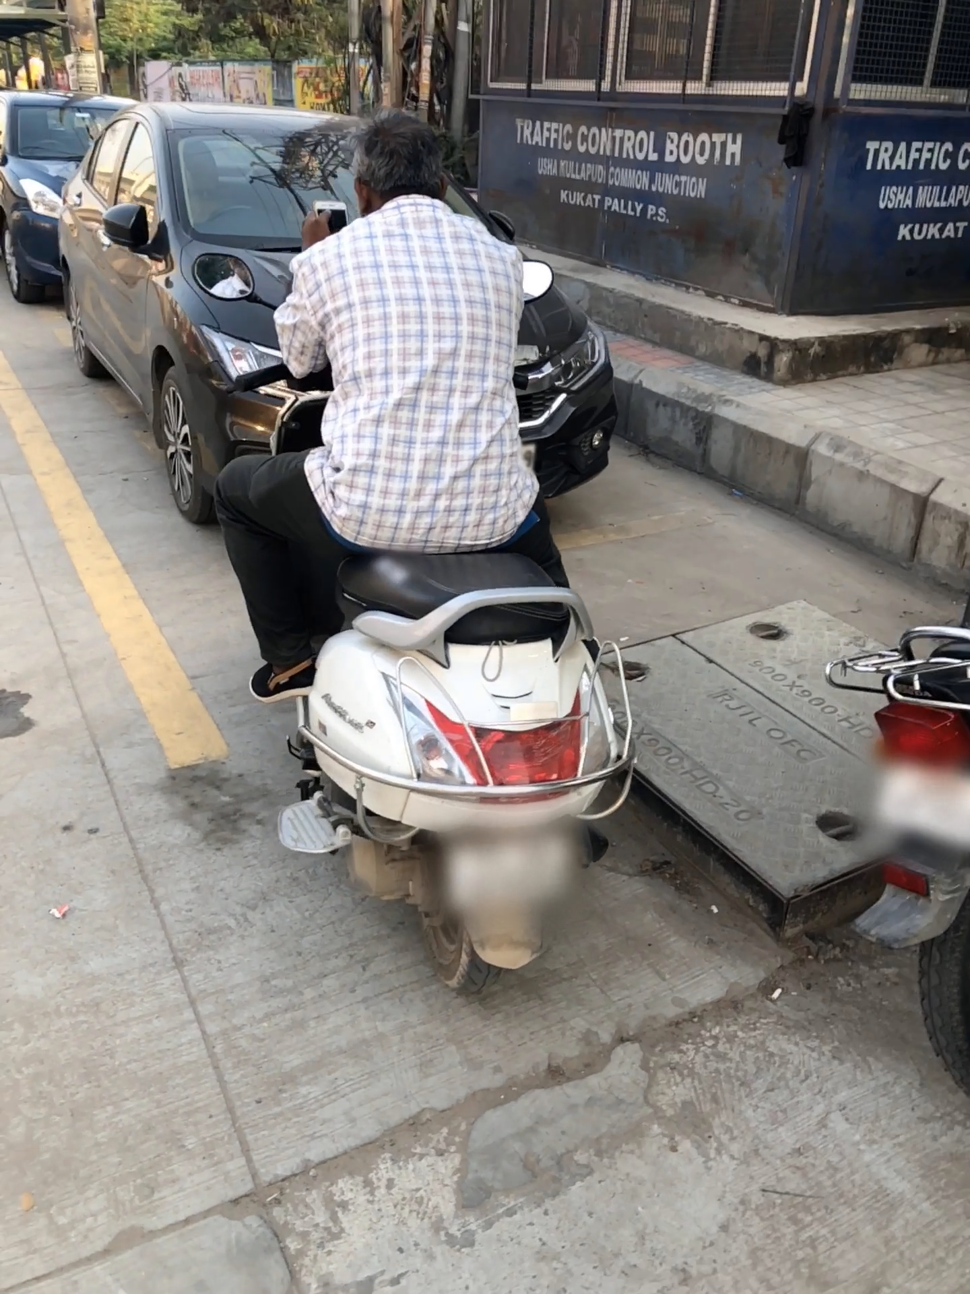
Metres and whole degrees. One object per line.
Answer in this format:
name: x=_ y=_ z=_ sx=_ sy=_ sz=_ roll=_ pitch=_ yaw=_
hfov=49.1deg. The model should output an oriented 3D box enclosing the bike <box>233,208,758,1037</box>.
bike: x=-0.117 y=-0.251 z=2.308 sx=0.641 sy=0.858 sz=1.609 roll=-6 pitch=36 yaw=-15
